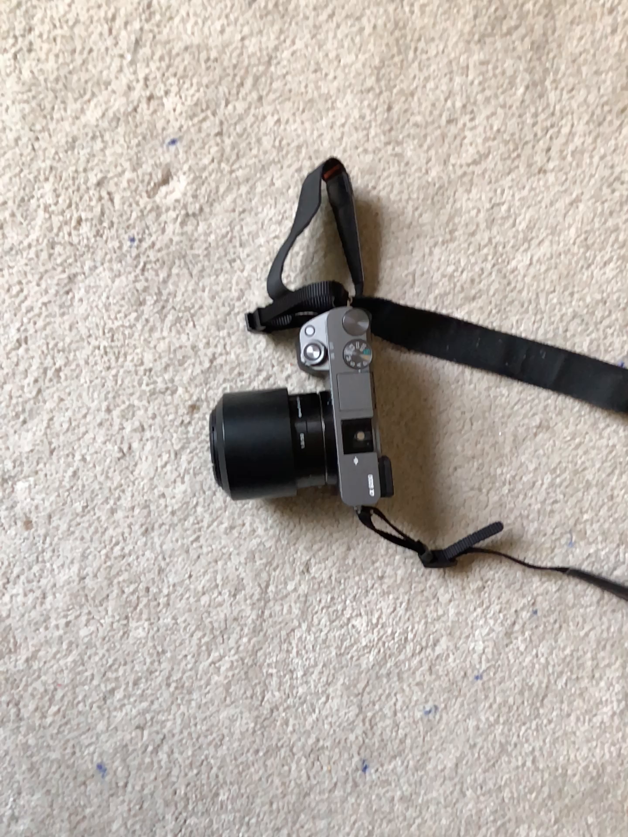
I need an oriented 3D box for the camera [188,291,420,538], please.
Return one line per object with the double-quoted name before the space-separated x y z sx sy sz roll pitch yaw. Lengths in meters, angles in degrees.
"camera" -0.008 -0.001 0.433 0.120 0.080 0.130 -6 88 -4
